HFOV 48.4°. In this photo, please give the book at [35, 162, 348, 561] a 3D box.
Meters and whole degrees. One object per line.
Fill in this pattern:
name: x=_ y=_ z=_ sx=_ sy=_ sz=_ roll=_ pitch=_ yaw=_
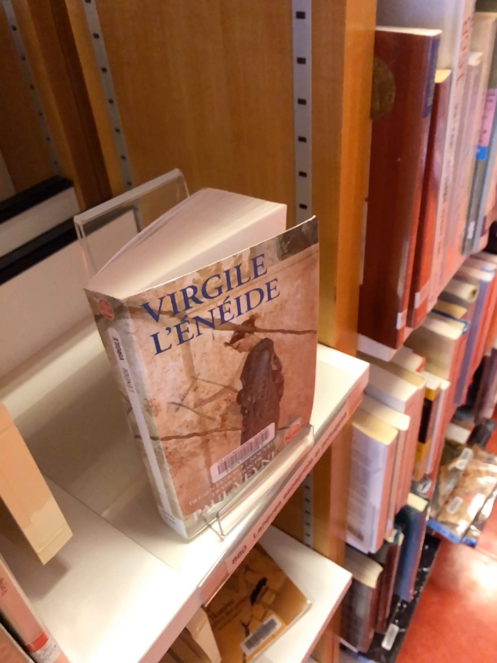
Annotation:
book: x=-0.016 y=0.016 z=0.312 sx=0.073 sy=0.168 sz=0.132 roll=29 pitch=50 yaw=36
